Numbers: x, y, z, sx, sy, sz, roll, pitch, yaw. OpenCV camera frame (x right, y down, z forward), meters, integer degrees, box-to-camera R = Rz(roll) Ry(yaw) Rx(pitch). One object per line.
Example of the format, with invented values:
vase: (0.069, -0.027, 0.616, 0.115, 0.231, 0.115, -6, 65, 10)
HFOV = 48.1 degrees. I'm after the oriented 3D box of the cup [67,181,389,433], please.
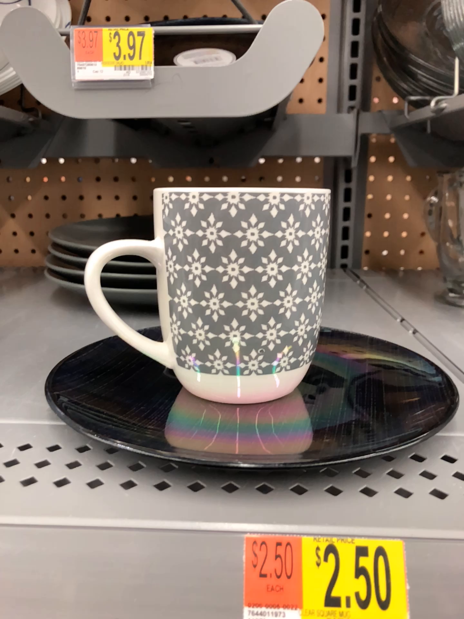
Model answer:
cup: (-0.009, -0.013, 0.257, 0.129, 0.096, 0.093, -4, 14, -19)
